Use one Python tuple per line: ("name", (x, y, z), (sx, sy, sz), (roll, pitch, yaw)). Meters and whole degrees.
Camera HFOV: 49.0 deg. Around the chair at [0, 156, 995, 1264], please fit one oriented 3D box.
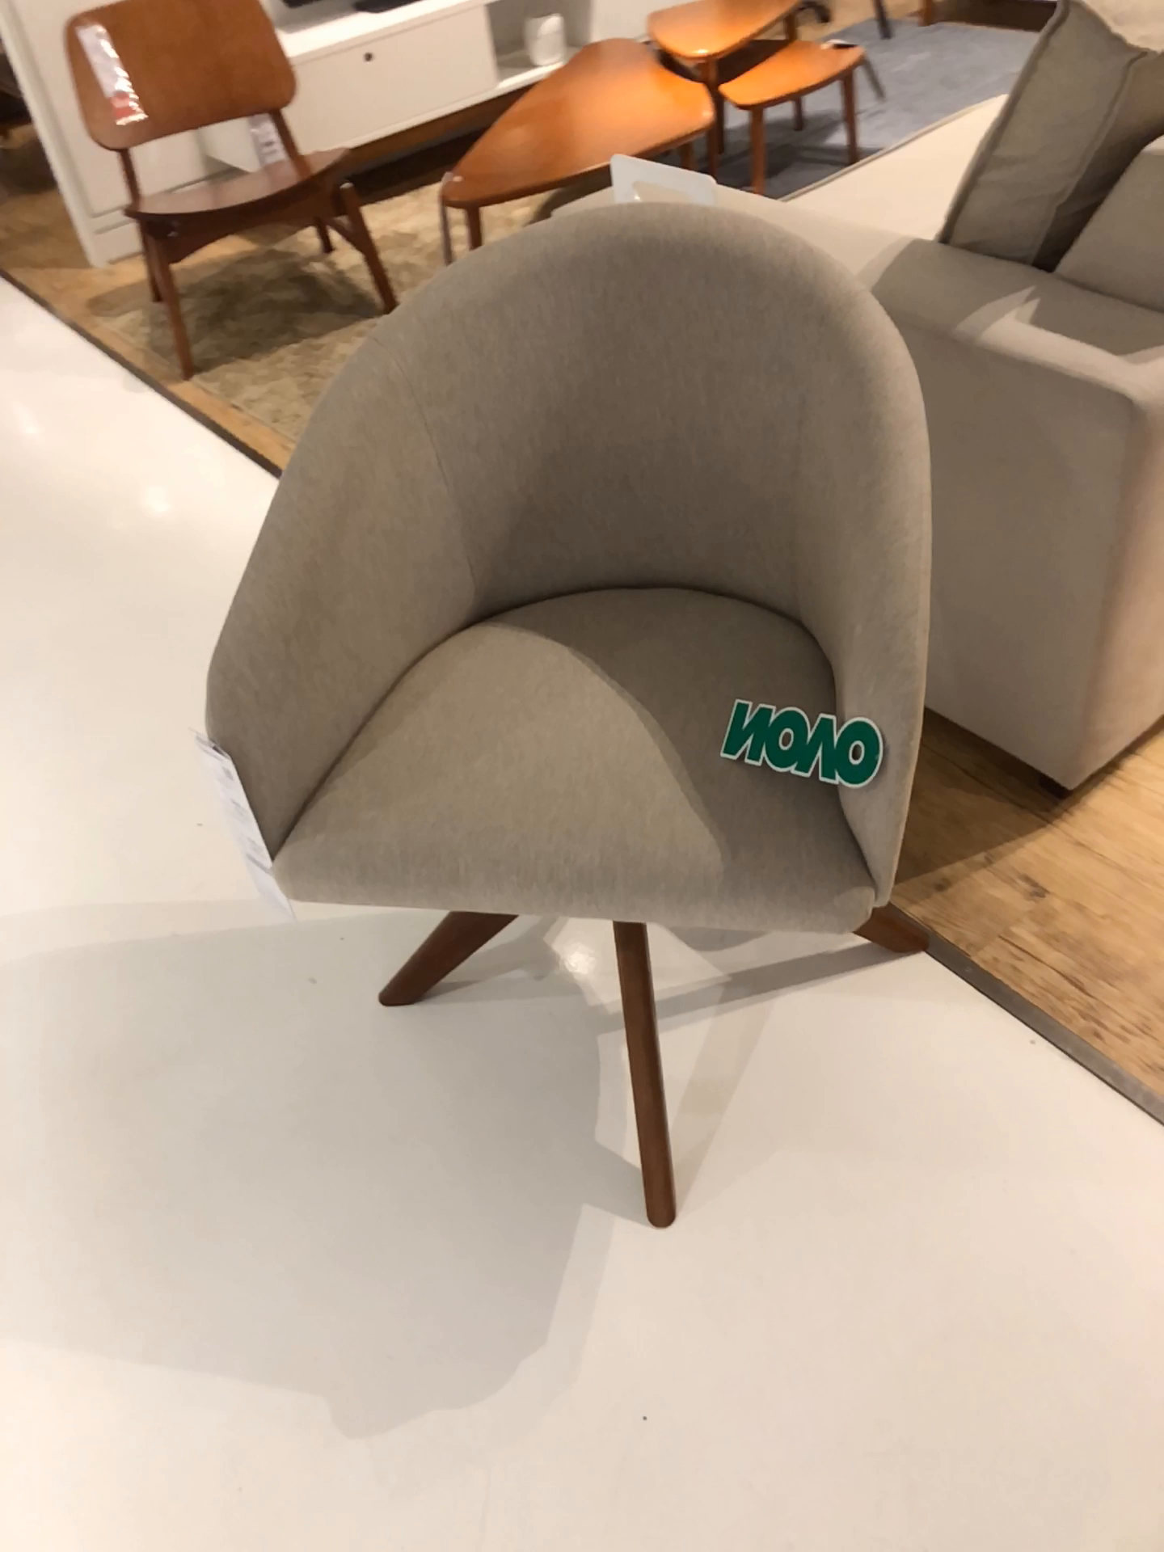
("chair", (0.025, -0.072, 1.318), (0.690, 0.794, 0.715), (2, 43, 14))
